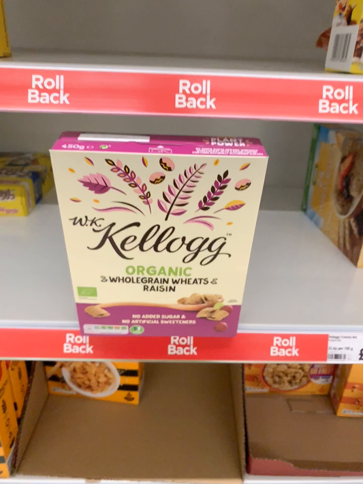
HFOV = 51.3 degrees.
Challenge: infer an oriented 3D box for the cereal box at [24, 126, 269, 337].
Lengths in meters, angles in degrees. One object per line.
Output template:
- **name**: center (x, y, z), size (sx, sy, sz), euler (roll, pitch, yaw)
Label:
- **cereal box**: center (-0.030, -0.001, 0.394), size (0.200, 0.218, 0.061), euler (0, 33, -2)
